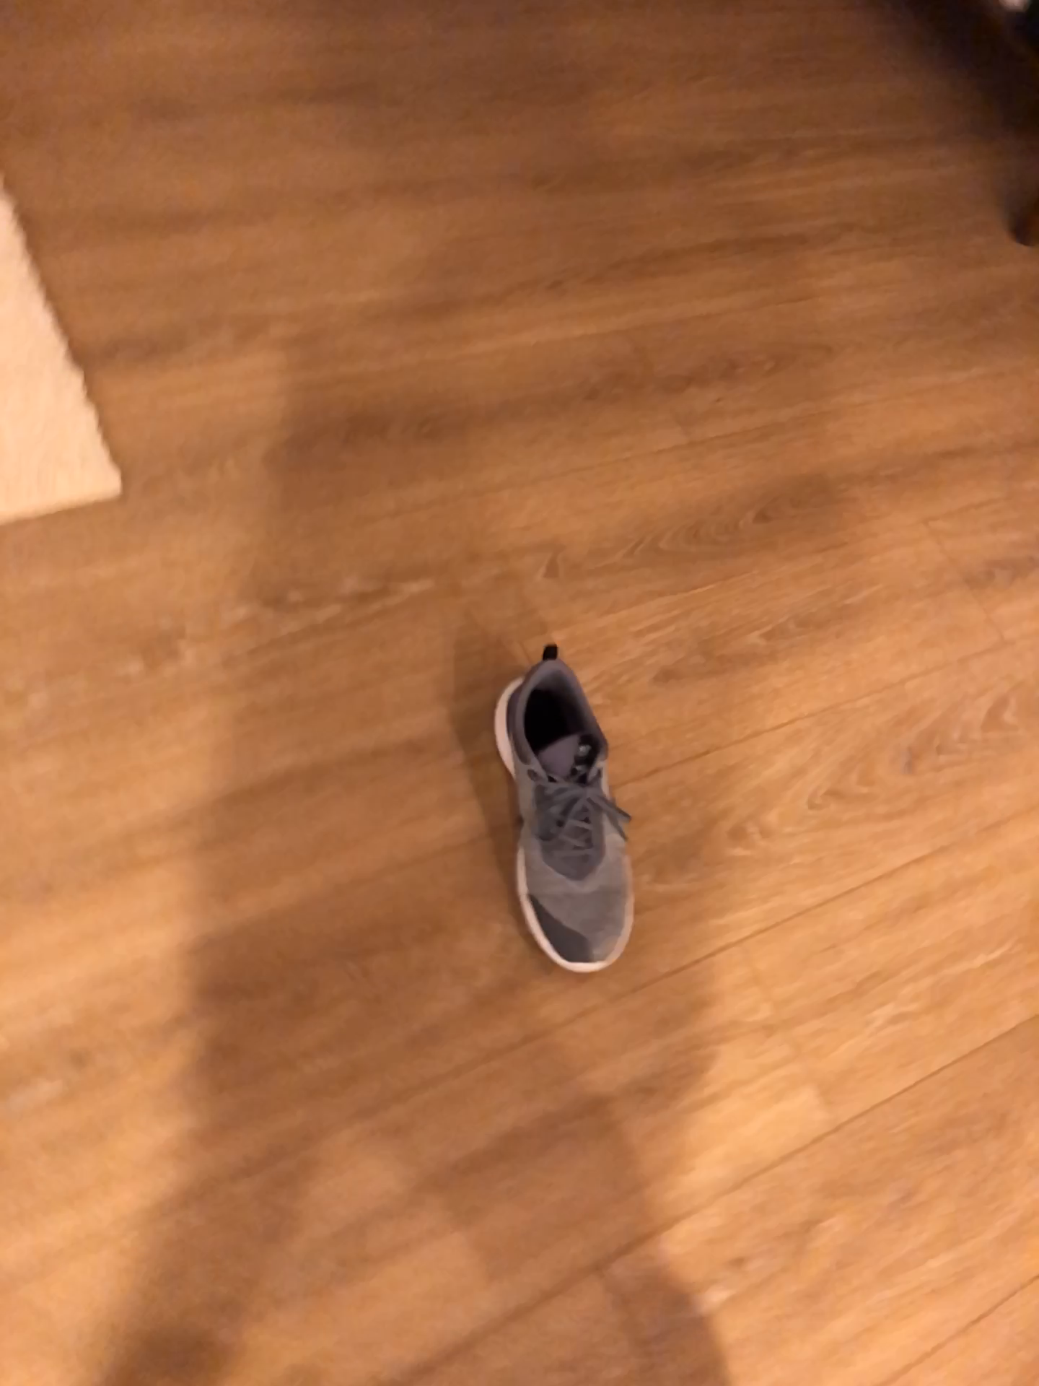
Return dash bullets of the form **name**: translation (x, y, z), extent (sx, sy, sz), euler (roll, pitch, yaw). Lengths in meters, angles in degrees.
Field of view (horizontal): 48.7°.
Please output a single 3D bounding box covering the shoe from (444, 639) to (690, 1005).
- **shoe**: translation (0.036, 0.112, 1.077), extent (0.140, 0.080, 0.320), euler (-5, 64, -19)
